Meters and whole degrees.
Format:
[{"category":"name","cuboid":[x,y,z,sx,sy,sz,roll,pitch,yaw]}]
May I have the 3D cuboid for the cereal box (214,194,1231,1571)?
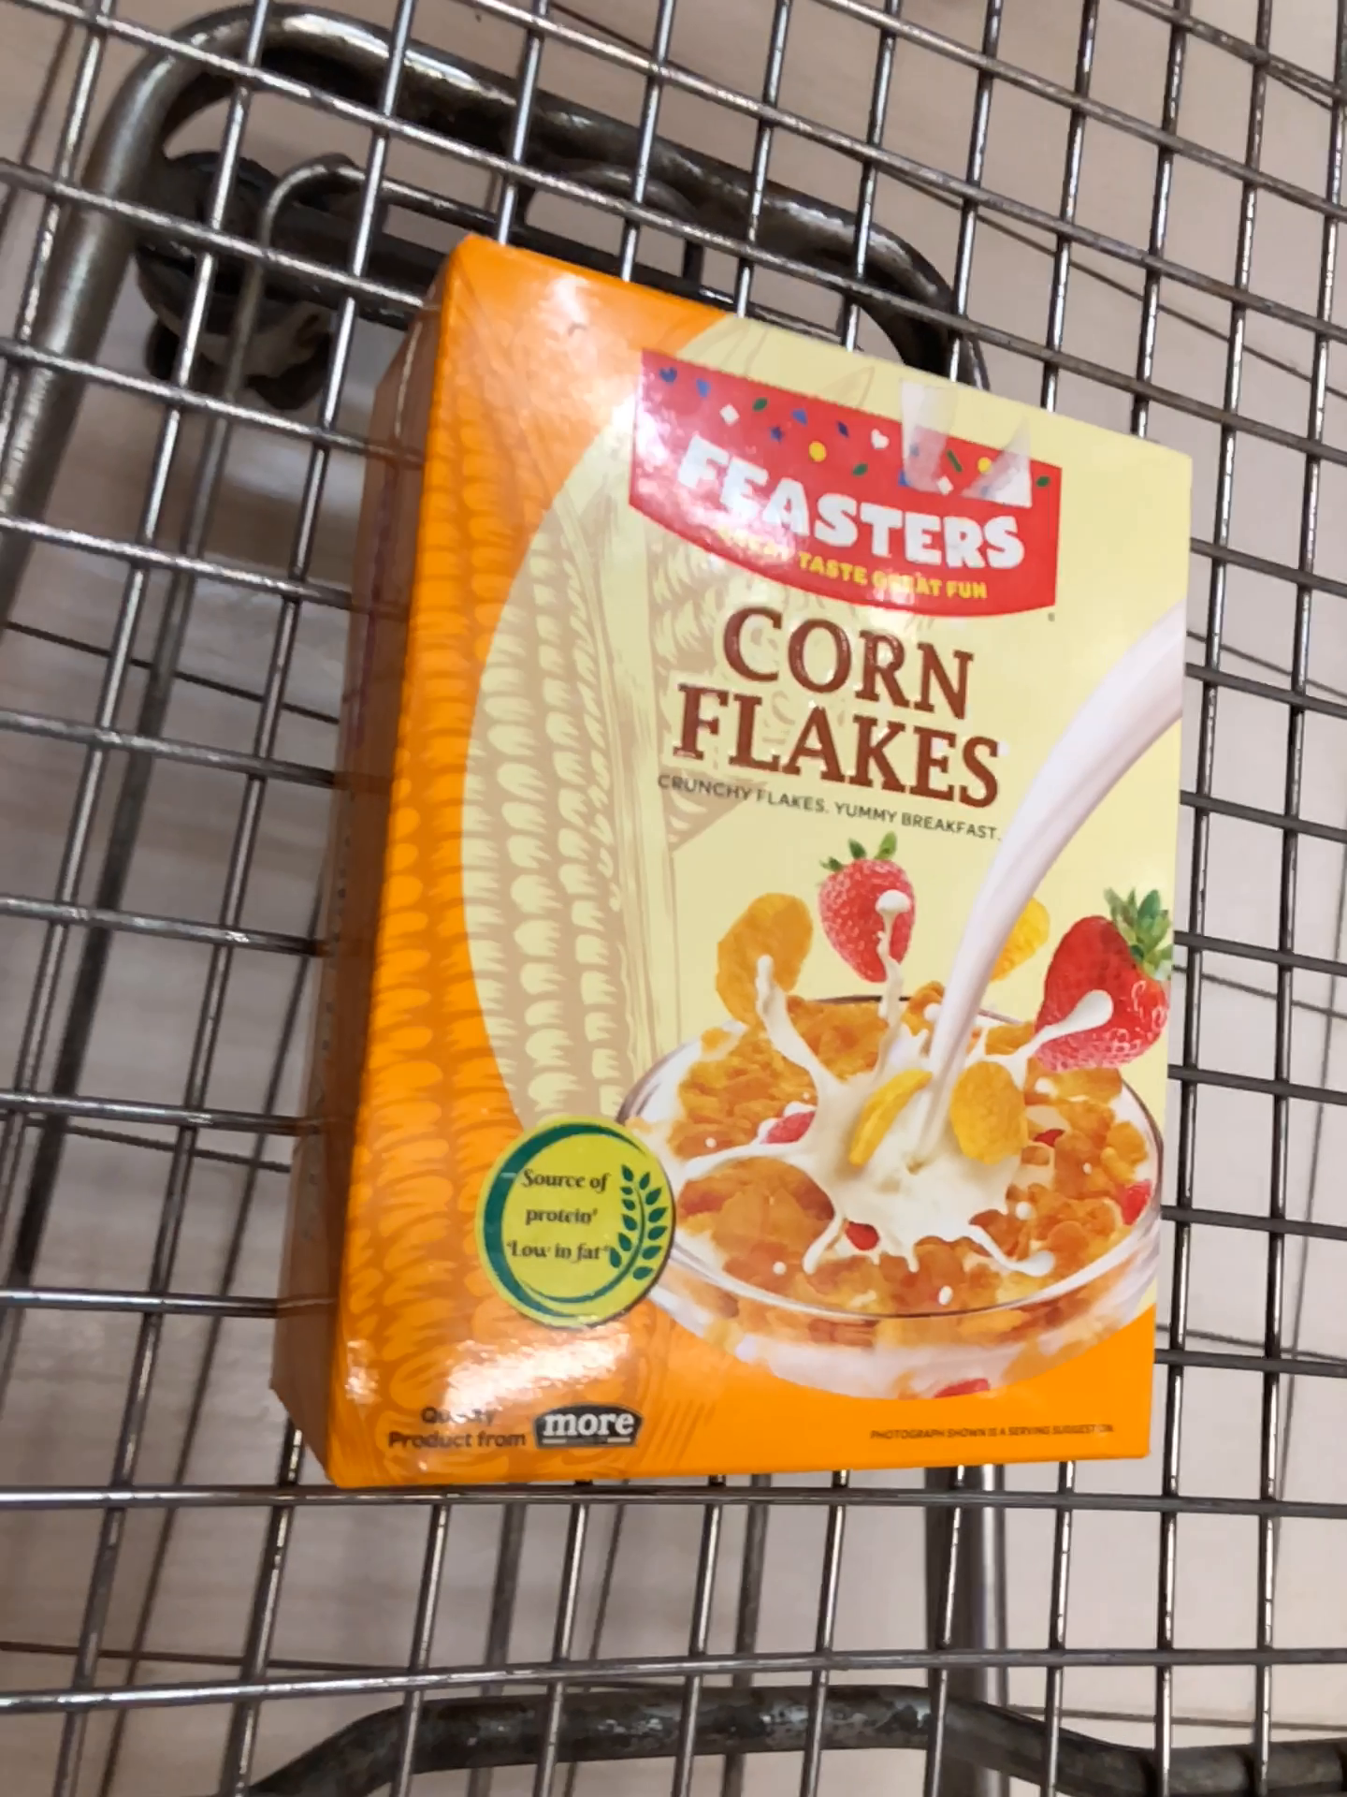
[{"category":"cereal box","cuboid":[0.011,0.004,0.247,0.140,0.060,0.180,8,84,-22]}]
